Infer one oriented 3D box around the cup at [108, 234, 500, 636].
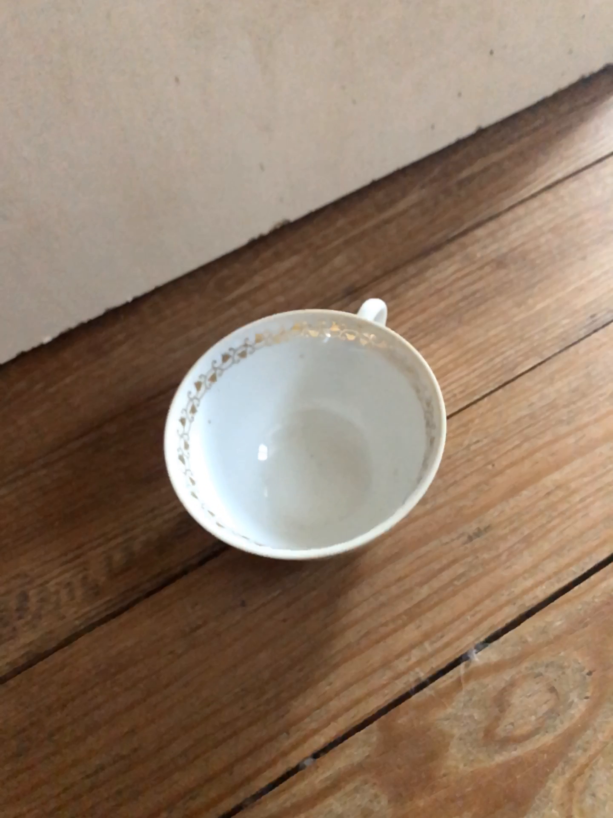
[{"bbox_3d":[0.004,0.003,0.218,0.080,0.040,0.100,20,63,16],"label":"cup"}]
